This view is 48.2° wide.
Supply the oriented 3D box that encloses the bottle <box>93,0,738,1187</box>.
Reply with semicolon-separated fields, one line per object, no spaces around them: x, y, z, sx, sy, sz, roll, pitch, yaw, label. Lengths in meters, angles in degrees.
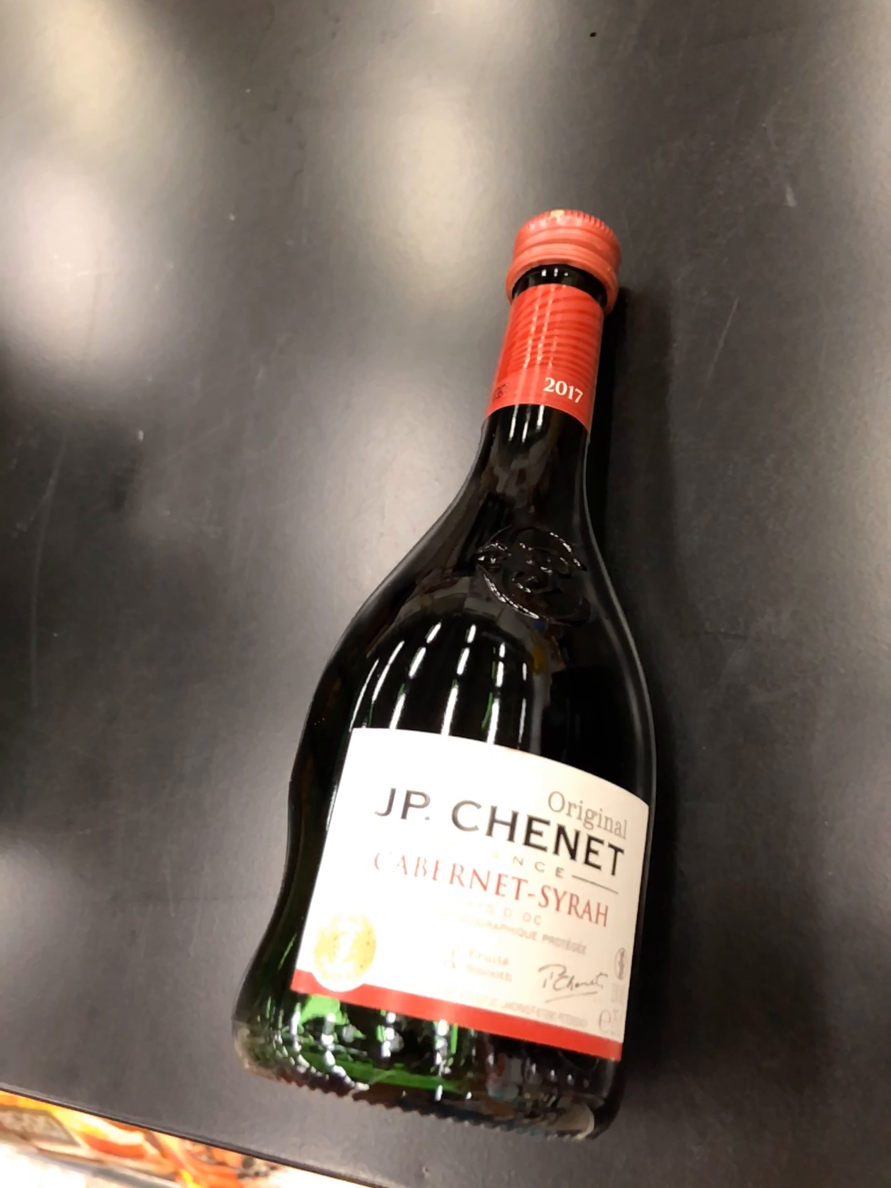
0.008;-0.010;0.188;0.070;0.060;0.200;0;68;26;bottle
